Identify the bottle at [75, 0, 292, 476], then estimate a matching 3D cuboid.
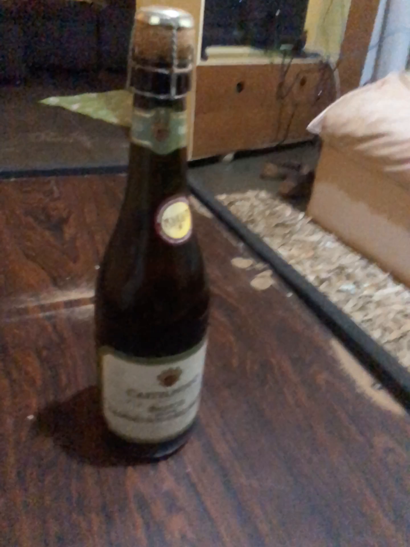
[{"bbox_3d":[-0.031,-0.007,0.303,0.090,0.298,0.090,5,30,-3],"label":"bottle"}]
